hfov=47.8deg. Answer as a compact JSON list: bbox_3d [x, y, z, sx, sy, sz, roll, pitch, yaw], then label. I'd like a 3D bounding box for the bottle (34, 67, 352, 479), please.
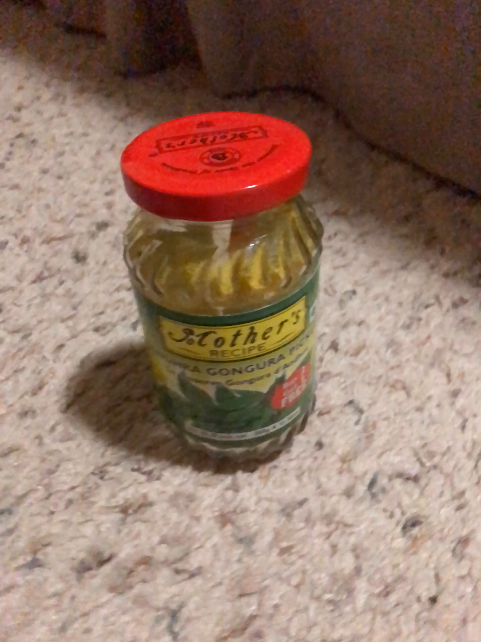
[{"bbox_3d":[-0.012,-0.012,0.182,0.070,0.110,0.070,-2,43,2],"label":"bottle"}]
